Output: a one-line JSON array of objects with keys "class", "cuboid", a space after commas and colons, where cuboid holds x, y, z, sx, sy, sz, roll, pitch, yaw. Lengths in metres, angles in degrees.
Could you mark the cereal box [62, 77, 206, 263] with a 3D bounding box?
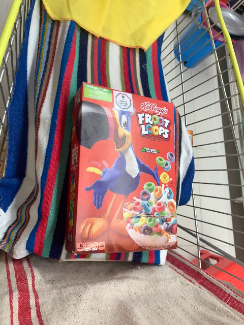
[{"class": "cereal box", "cuboid": [0.023, 0.016, 0.401, 0.210, 0.060, 0.250, 6, 76, -24]}]
